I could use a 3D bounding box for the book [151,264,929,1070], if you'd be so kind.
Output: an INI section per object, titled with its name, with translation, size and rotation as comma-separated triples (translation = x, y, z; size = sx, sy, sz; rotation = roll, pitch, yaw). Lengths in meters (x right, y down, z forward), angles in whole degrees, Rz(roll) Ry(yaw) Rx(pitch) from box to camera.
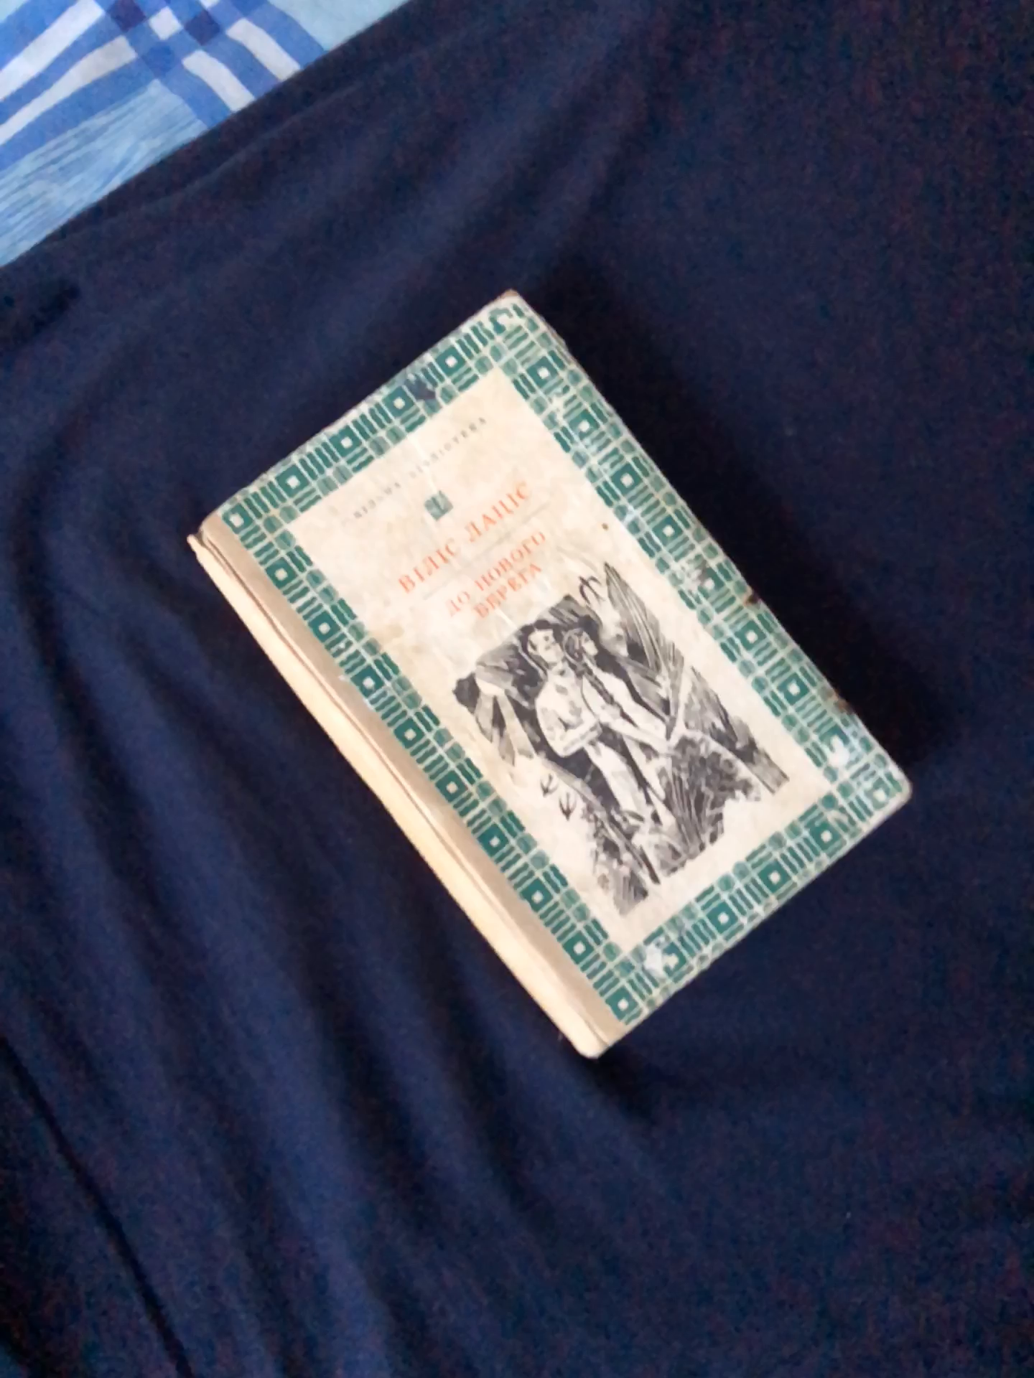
[book]
translation = 0.006, -0.008, 0.362
size = 0.134, 0.040, 0.201
rotation = -39, 87, -4
